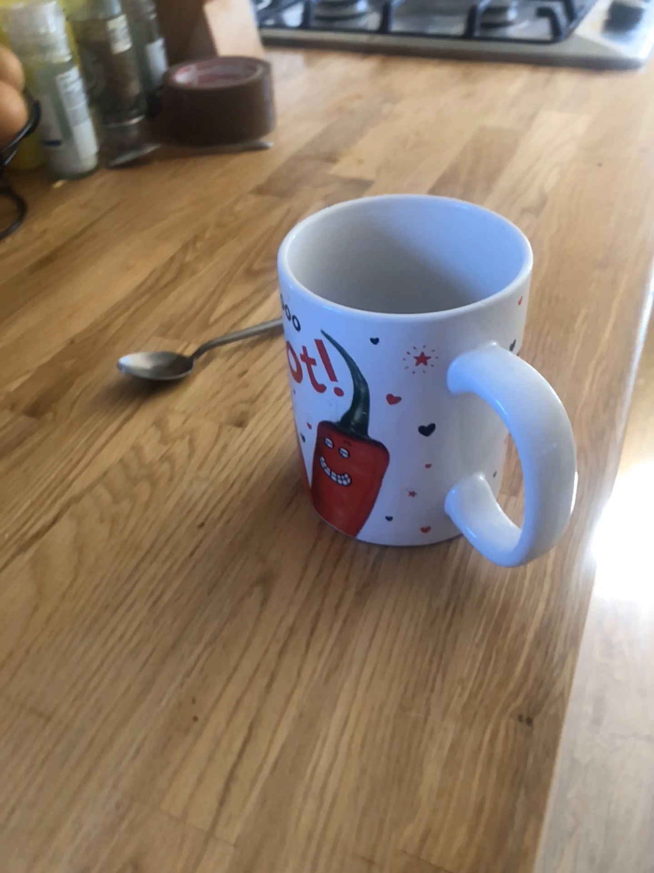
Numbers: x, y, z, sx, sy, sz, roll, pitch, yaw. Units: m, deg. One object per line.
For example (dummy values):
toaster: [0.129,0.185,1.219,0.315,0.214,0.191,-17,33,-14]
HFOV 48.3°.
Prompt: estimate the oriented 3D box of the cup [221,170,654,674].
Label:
cup: [0.037,-0.014,0.278,0.097,0.109,0.137,-21,44,-18]
